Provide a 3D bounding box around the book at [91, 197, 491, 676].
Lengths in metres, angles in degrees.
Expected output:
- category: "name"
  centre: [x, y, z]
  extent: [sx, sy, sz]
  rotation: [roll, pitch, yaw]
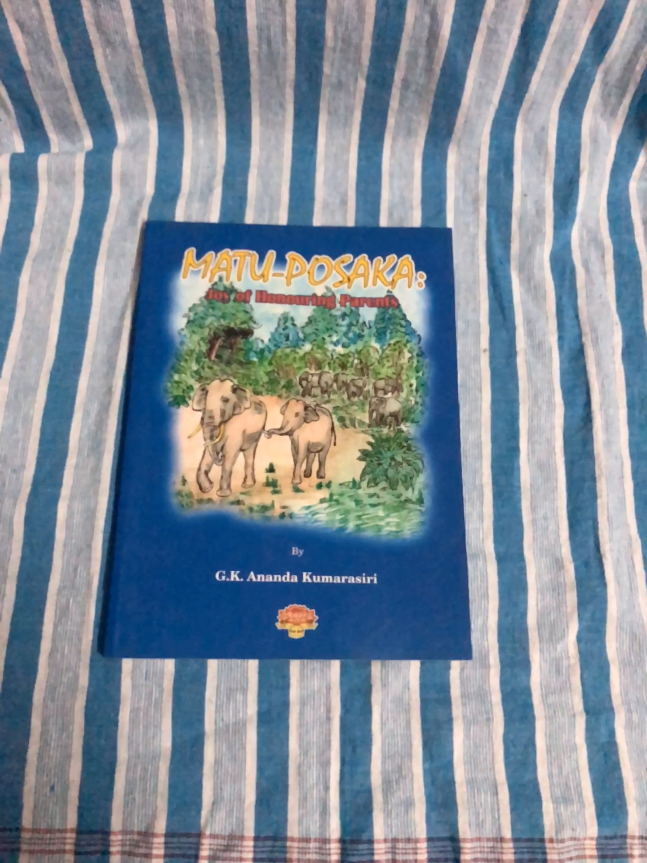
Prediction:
- category: "book"
  centre: [-0.011, -0.006, 0.347]
  extent: [0.170, 0.020, 0.230]
  rotation: [2, 73, 0]
